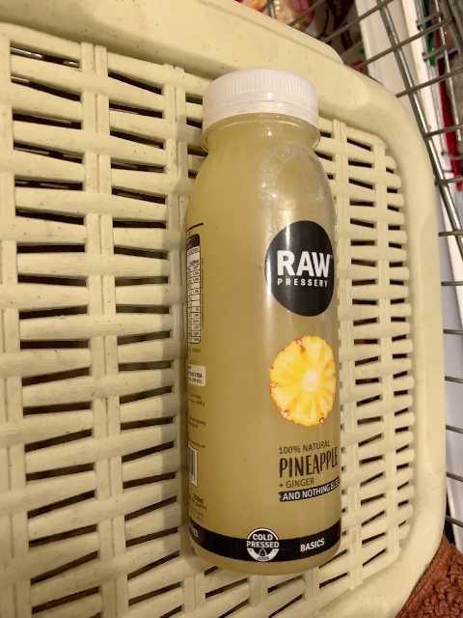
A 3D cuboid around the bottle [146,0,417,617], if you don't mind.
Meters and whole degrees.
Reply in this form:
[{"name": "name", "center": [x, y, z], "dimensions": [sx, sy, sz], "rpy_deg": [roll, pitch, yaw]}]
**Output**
[{"name": "bottle", "center": [0.014, -0.005, 0.152], "dimensions": [0.060, 0.050, 0.160], "rpy_deg": [1, 85, -39]}]
